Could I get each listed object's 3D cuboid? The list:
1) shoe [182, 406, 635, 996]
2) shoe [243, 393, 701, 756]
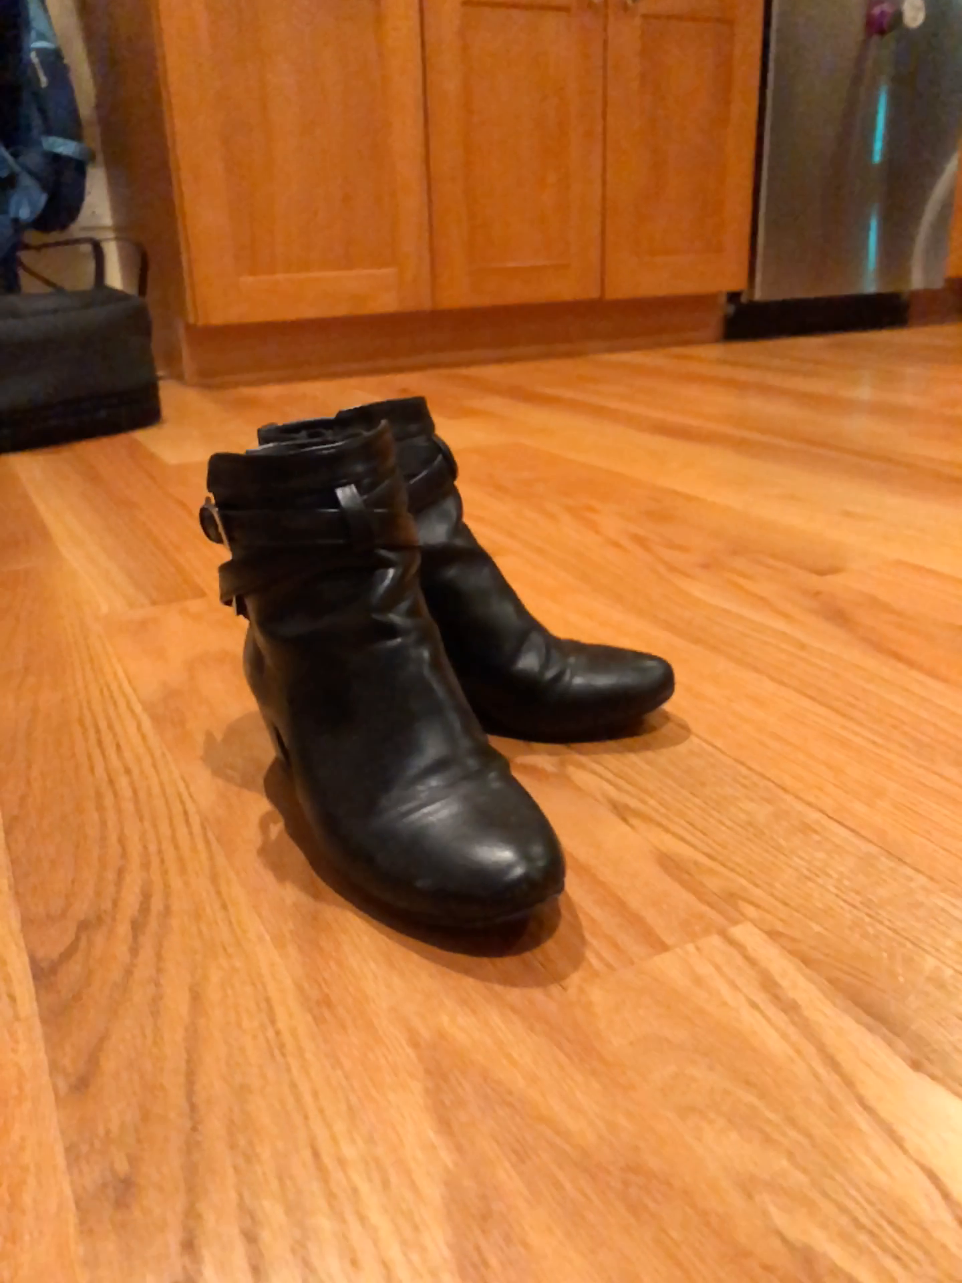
[{"bbox_3d":[-0.042,0.002,0.457,0.090,0.172,0.227,-13,23,-28],"label":"shoe"},{"bbox_3d":[0.002,-0.042,0.583,0.226,0.172,0.091,2,20,11],"label":"shoe"}]
